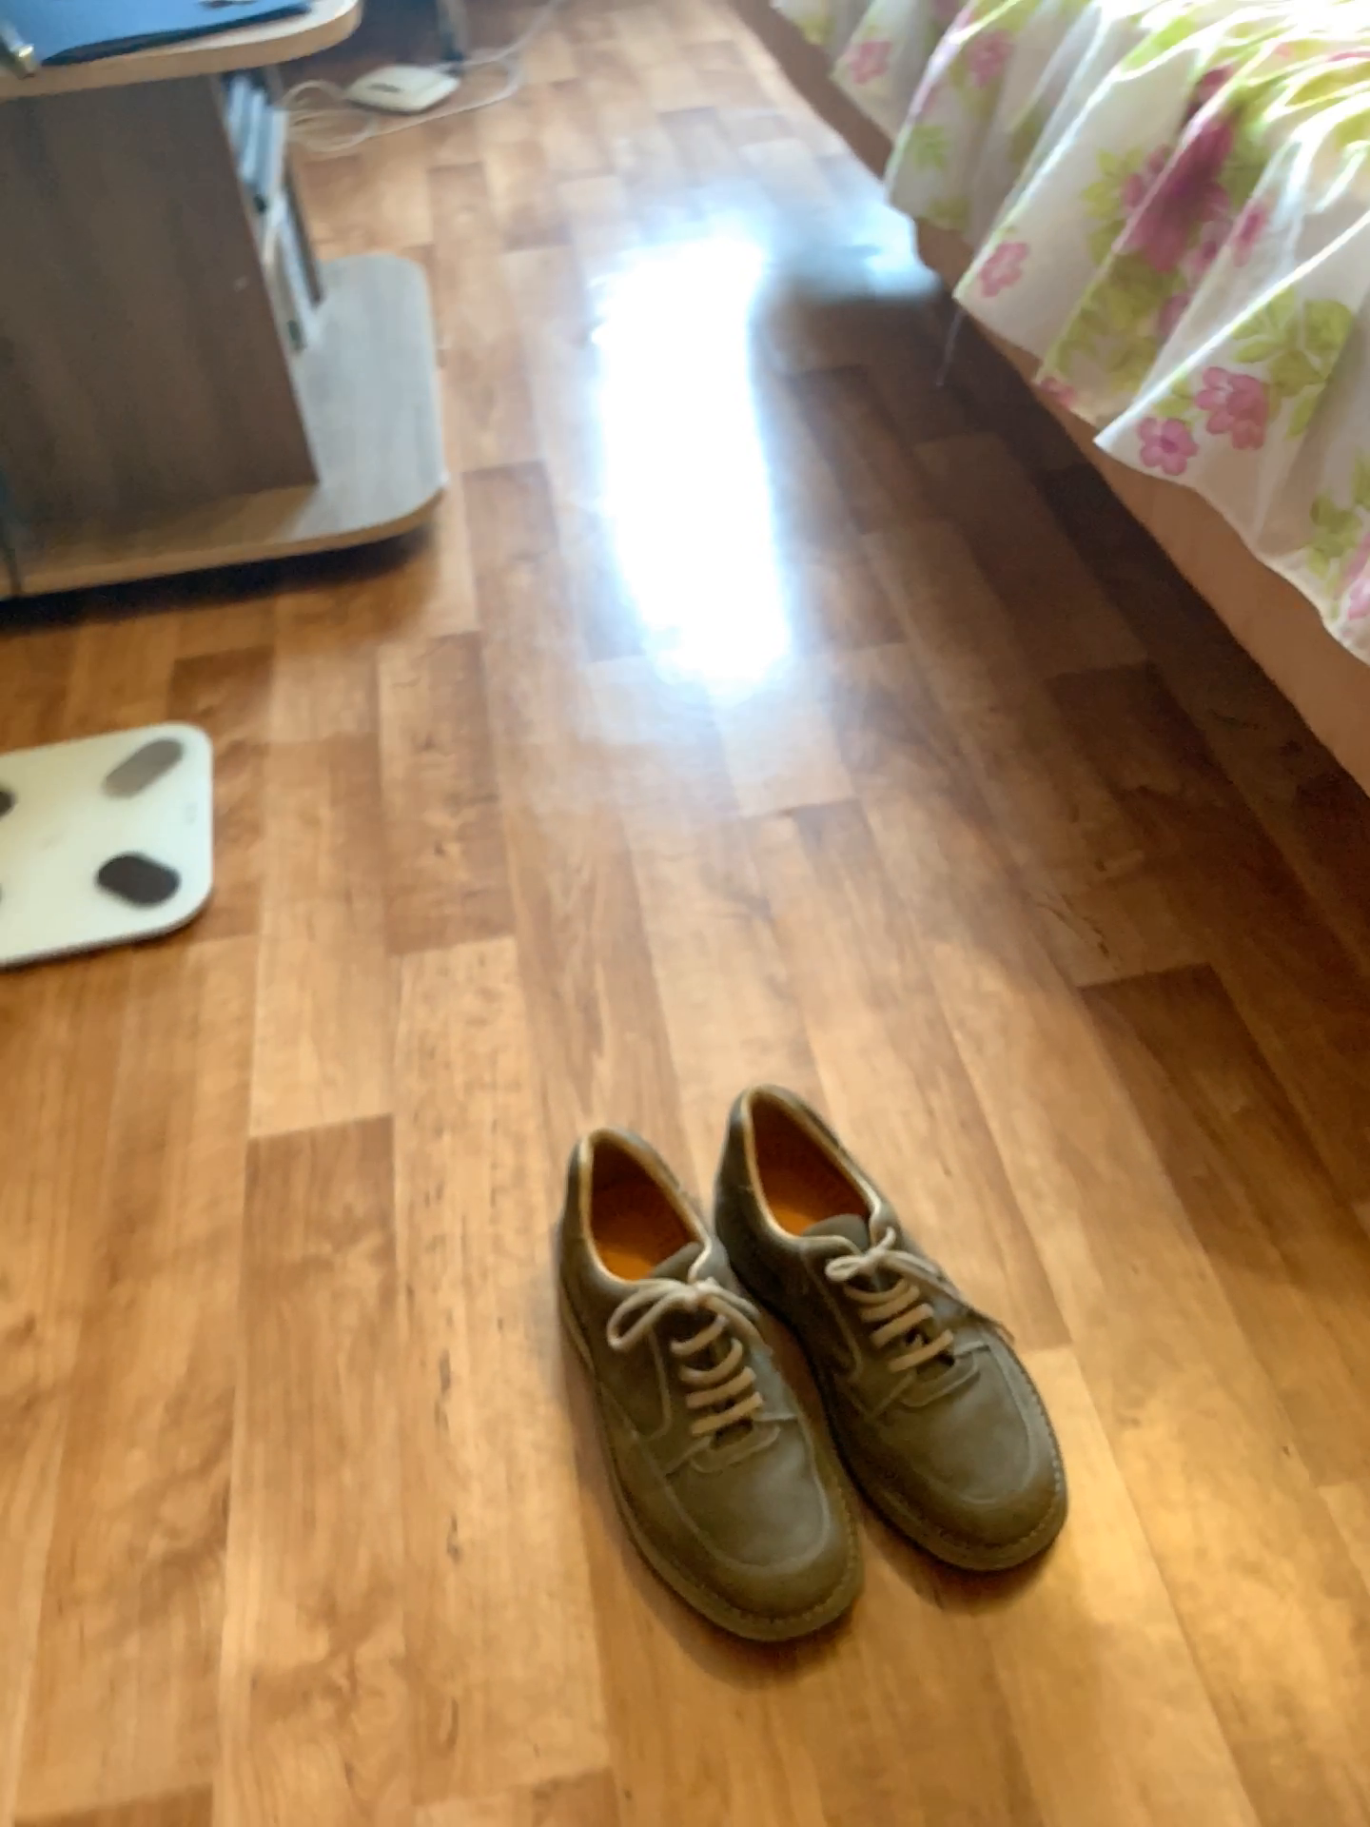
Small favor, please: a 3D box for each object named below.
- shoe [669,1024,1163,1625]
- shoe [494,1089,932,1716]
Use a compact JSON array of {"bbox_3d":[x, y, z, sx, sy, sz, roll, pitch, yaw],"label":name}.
[{"bbox_3d":[0.115,0.218,0.802,0.120,0.110,0.291,-24,48,-16],"label":"shoe"},{"bbox_3d":[0.007,0.262,0.801,0.120,0.120,0.291,-21,47,-14],"label":"shoe"}]
